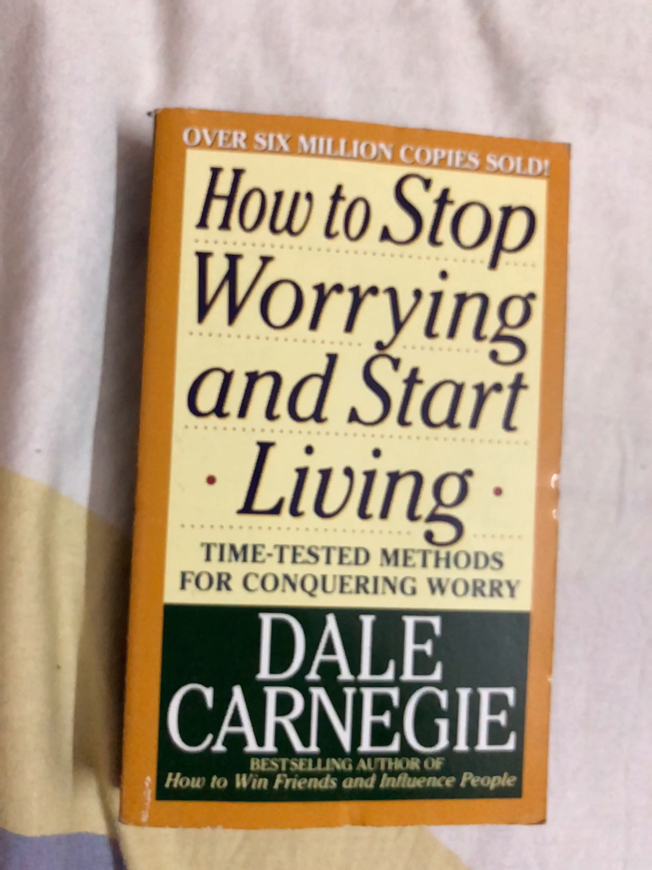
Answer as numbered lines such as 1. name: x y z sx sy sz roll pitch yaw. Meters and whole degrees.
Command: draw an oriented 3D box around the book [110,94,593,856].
1. book: 0.006 0.010 0.200 0.110 0.050 0.170 2 88 -9
